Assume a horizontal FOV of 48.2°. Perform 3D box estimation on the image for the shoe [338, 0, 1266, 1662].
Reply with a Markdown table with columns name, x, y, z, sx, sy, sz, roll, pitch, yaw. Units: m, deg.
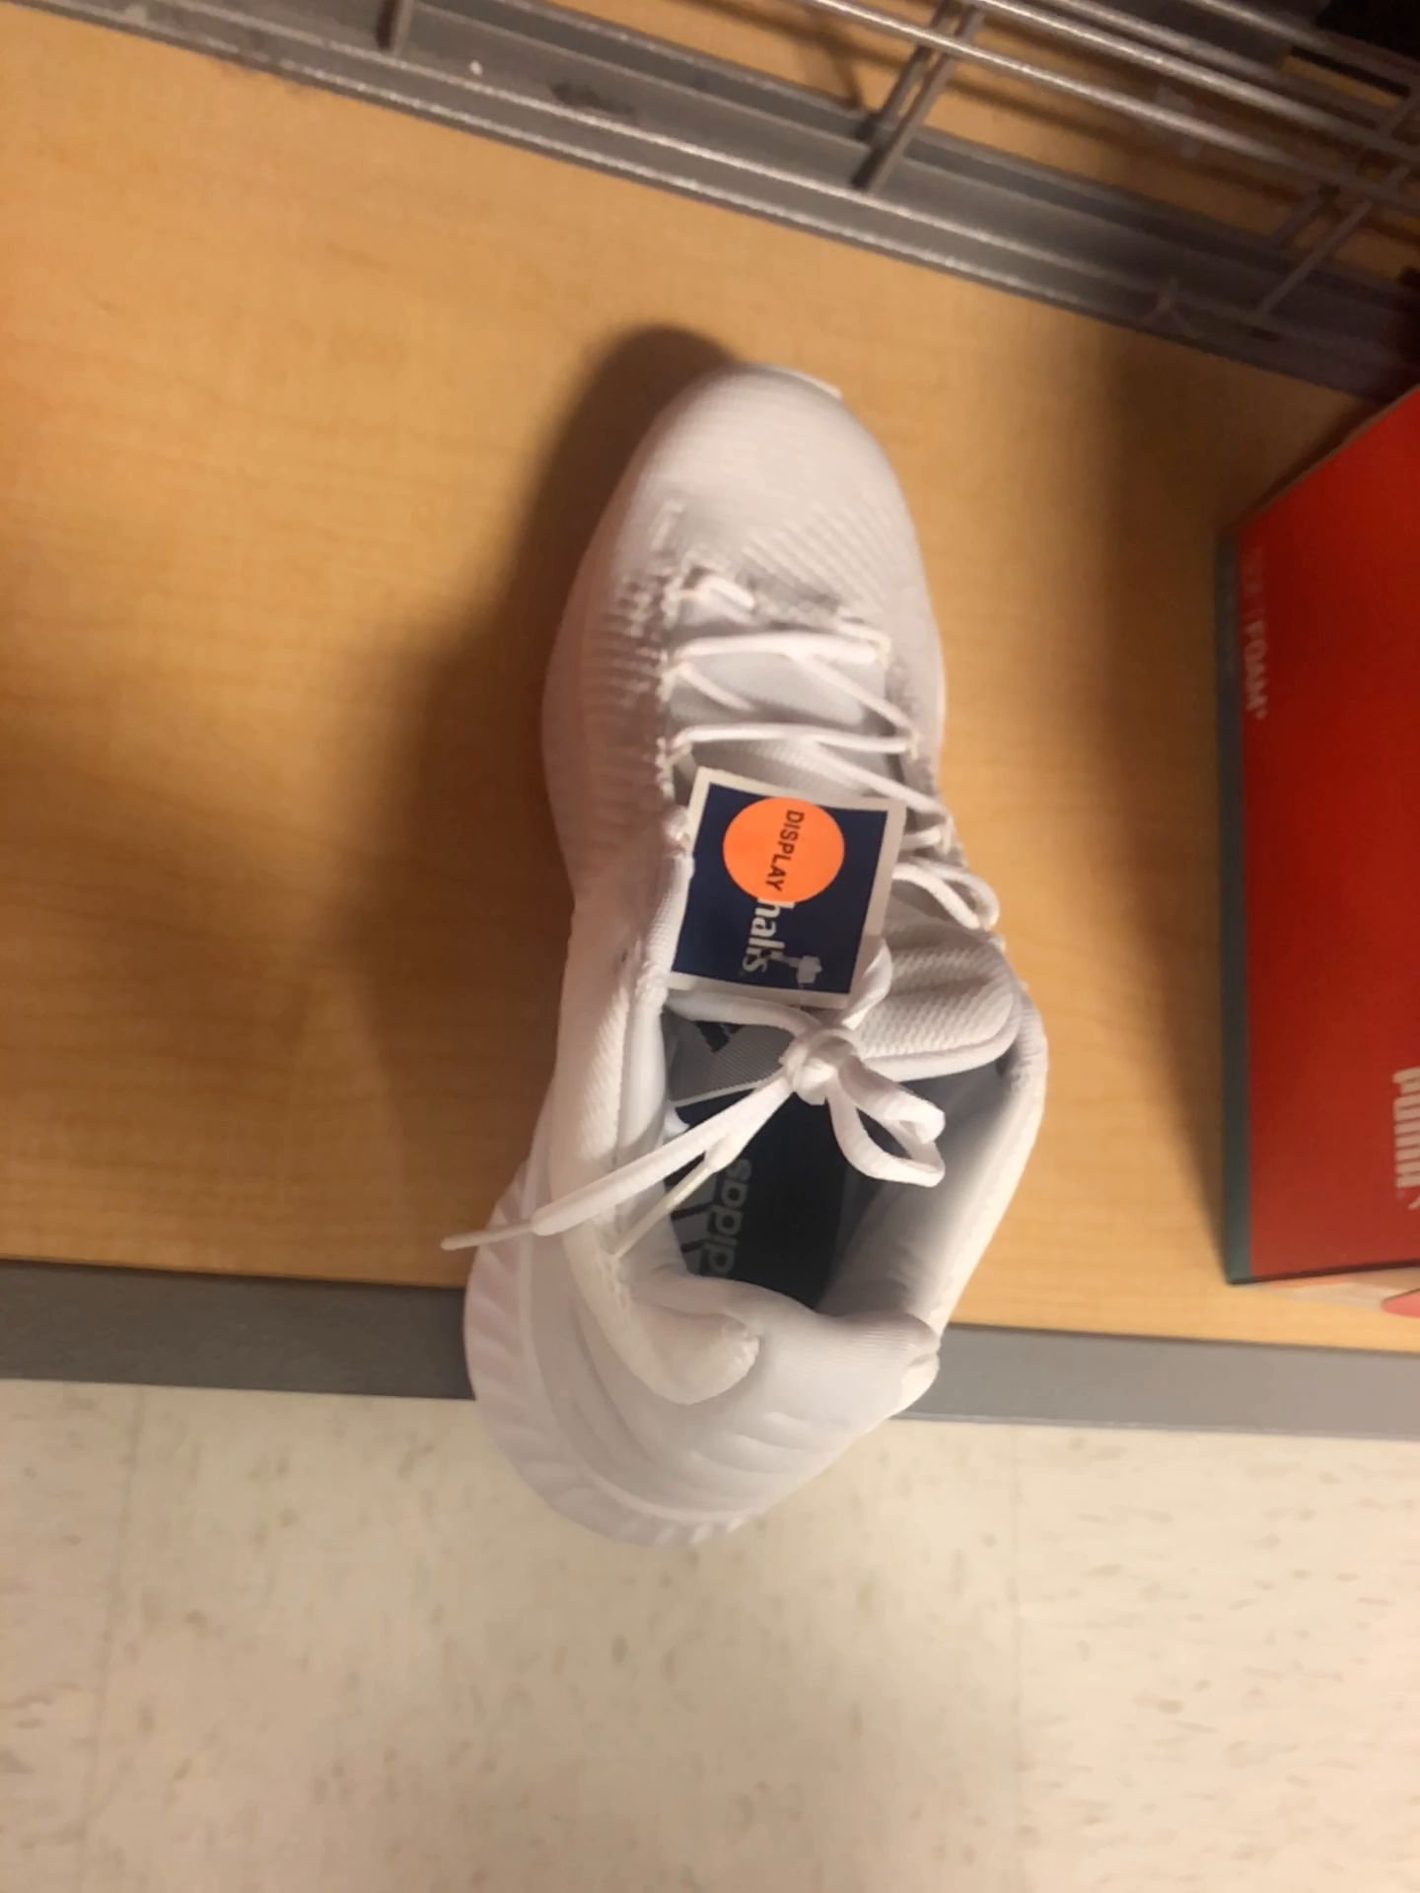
| name | x | y | z | sx | sy | sz | roll | pitch | yaw |
| --- | --- | --- | --- | --- | --- | --- | --- | --- | --- |
| shoe | 0.022 | -0.037 | 0.361 | 0.120 | 0.150 | 0.336 | 15 | 70 | -15 |
